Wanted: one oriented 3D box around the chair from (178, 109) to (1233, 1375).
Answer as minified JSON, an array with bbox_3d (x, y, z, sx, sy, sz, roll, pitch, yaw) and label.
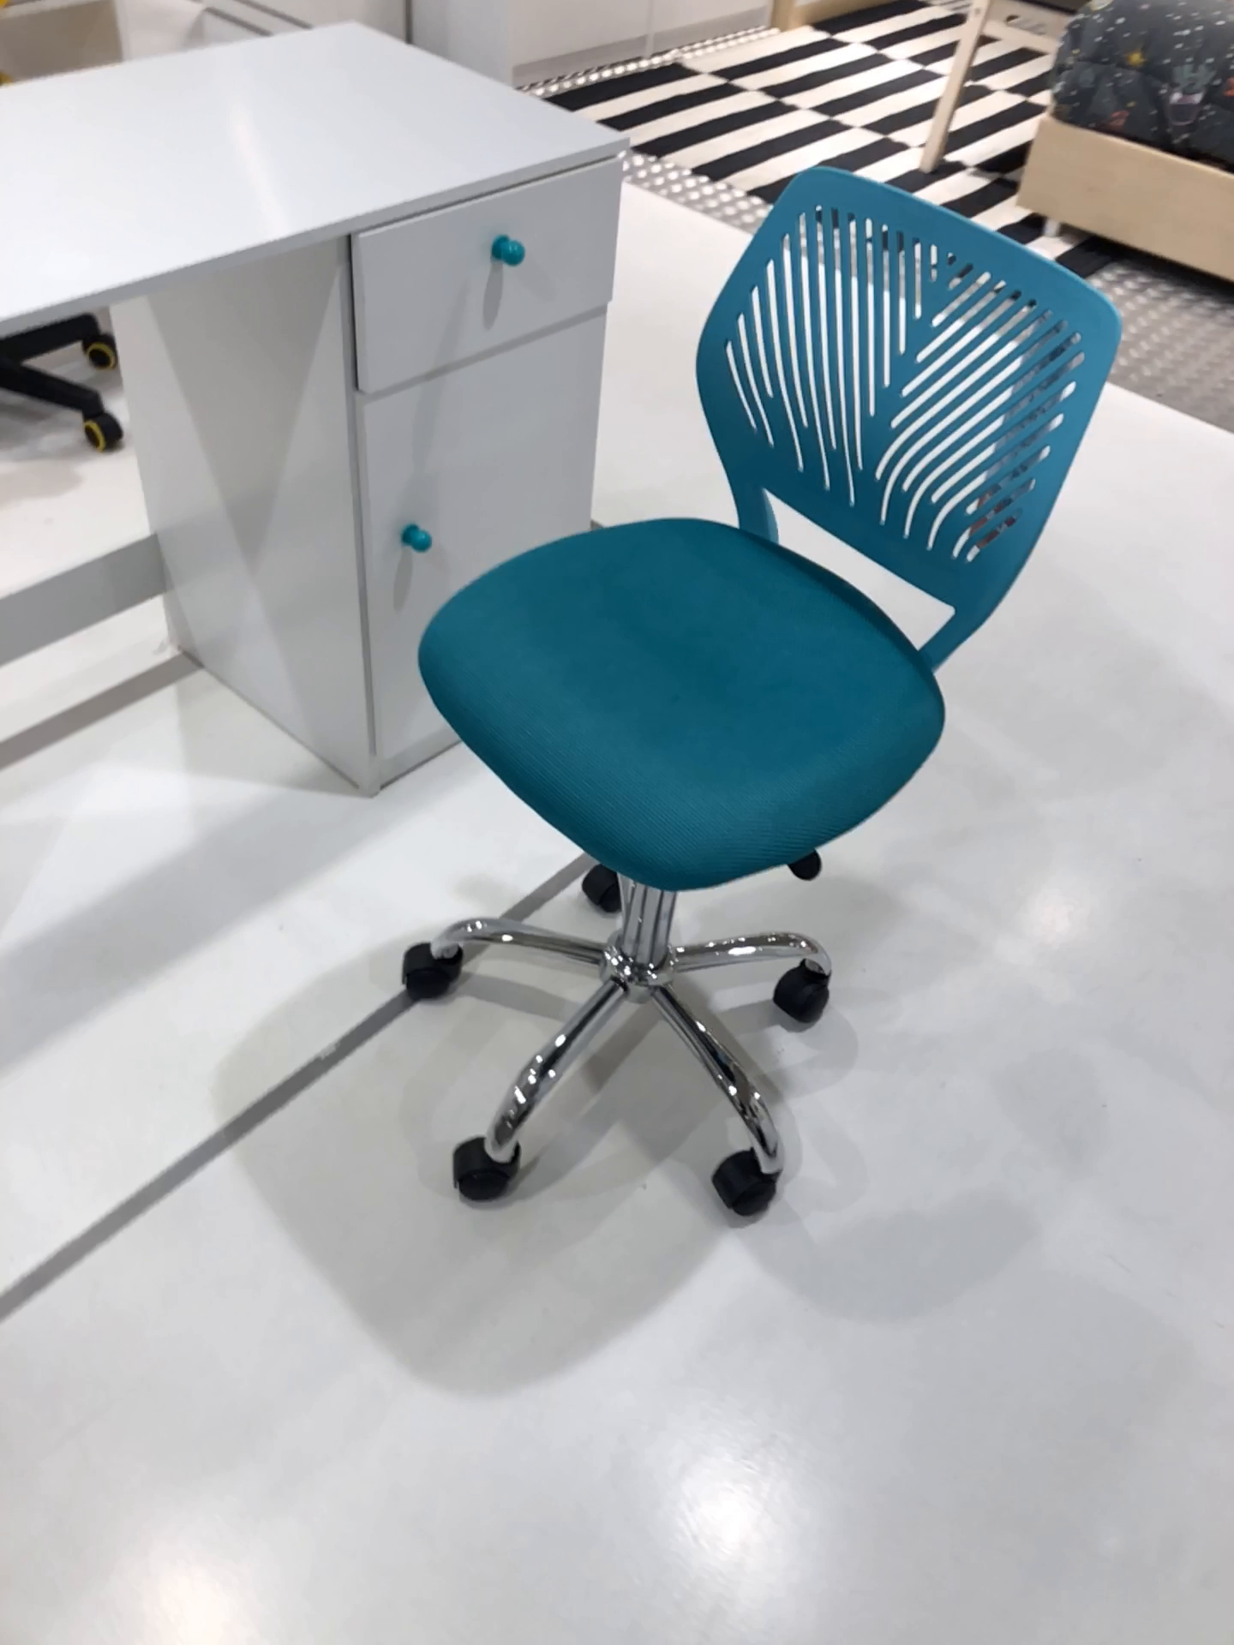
[{"bbox_3d":[0.047,-0.058,1.148,0.532,0.804,0.482,-29,54,-31],"label":"chair"}]
